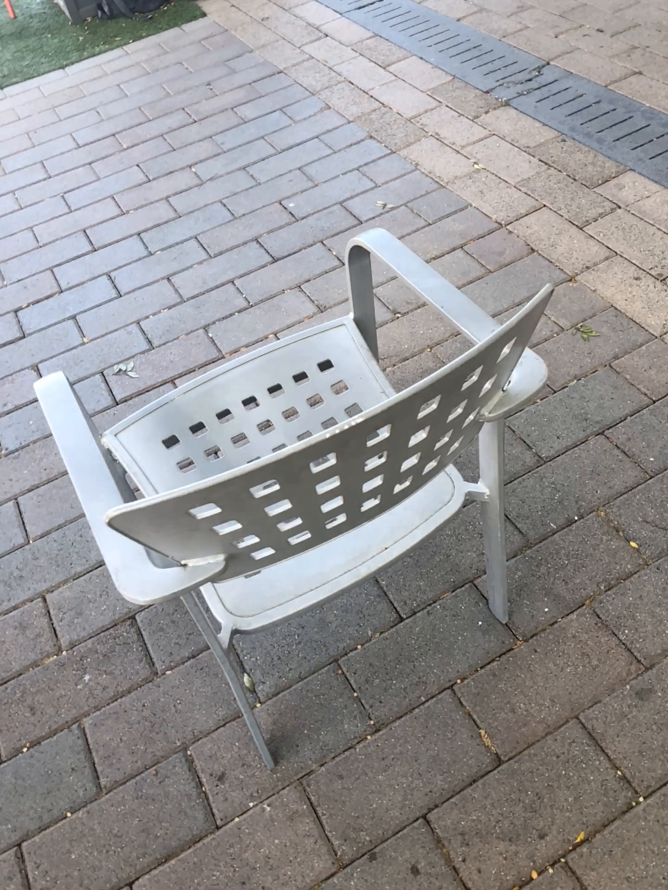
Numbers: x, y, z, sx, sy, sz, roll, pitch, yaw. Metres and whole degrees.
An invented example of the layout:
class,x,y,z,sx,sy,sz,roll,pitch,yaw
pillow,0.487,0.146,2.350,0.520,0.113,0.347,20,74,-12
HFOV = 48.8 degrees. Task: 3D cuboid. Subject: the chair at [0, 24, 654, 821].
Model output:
class,x,y,z,sx,sy,sz,roll,pitch,yaw
chair,-0.083,-0.008,1.064,0.630,0.776,0.593,-28,53,-14
